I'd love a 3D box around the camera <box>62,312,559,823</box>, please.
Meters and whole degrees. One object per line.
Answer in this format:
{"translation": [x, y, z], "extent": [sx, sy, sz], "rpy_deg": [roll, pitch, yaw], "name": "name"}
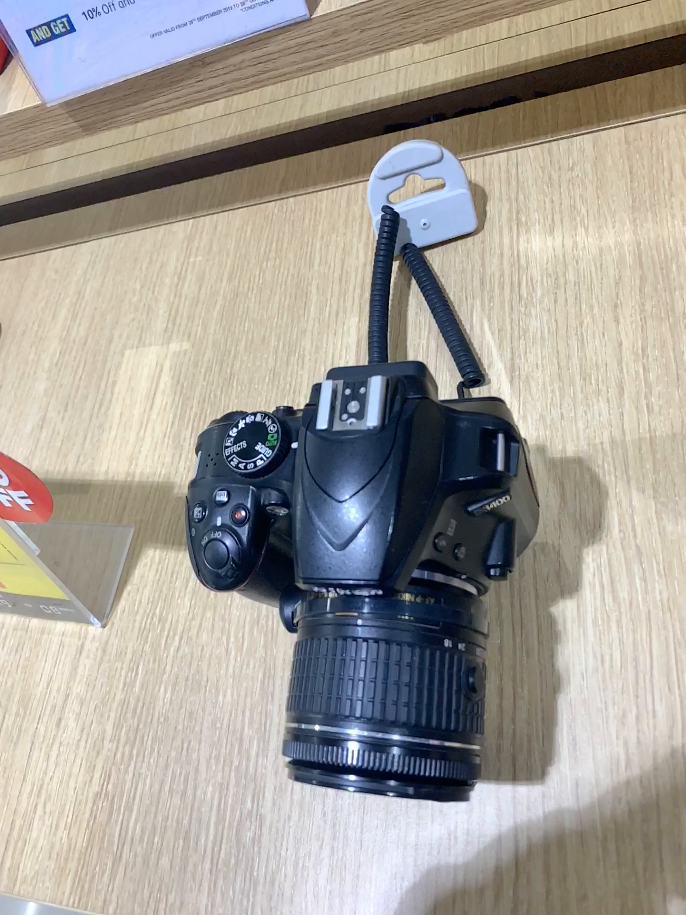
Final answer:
{"translation": [0.002, 0.041, 0.233], "extent": [0.120, 0.090, 0.130], "rpy_deg": [-5, 63, 21], "name": "camera"}
